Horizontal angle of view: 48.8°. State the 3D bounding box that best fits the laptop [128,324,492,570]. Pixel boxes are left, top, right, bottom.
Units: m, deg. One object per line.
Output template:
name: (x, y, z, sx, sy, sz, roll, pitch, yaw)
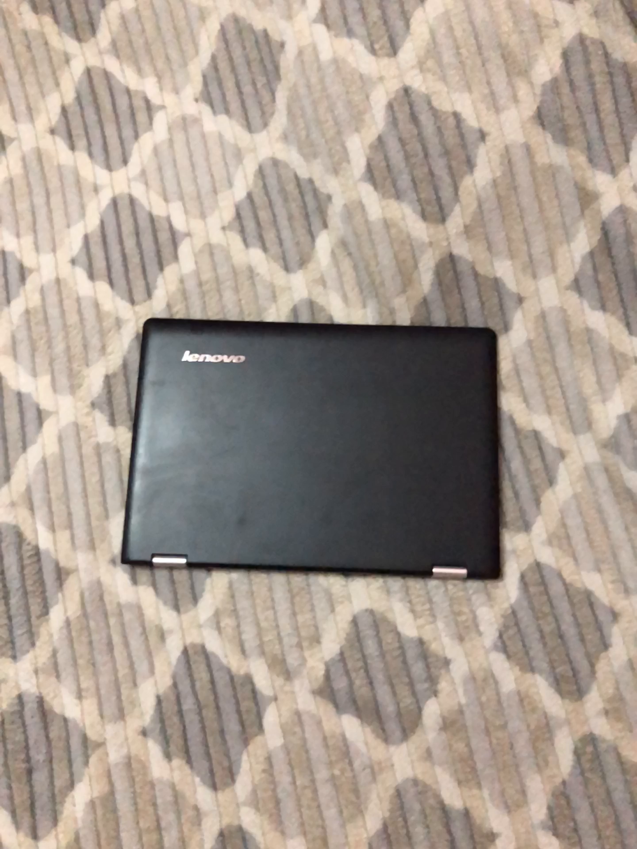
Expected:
laptop: (-0.003, 0.018, 0.678, 0.339, 0.005, 0.230, 2, 79, 1)
